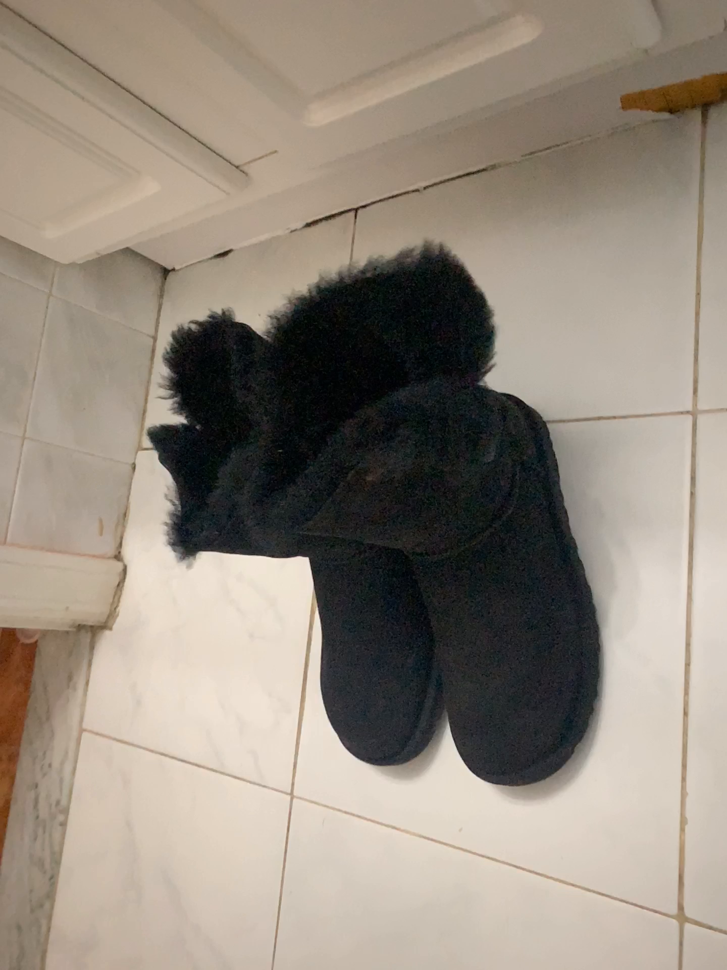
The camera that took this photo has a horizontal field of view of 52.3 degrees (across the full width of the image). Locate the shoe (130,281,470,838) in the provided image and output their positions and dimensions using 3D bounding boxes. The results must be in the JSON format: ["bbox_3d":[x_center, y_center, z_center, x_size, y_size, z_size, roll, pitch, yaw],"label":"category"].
[{"bbox_3d":[-0.039,0.051,0.482,0.120,0.169,0.290,-14,71,35],"label":"shoe"}]

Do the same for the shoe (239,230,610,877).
[{"bbox_3d":[0.039,0.040,0.424,0.110,0.189,0.280,-12,72,35],"label":"shoe"}]
